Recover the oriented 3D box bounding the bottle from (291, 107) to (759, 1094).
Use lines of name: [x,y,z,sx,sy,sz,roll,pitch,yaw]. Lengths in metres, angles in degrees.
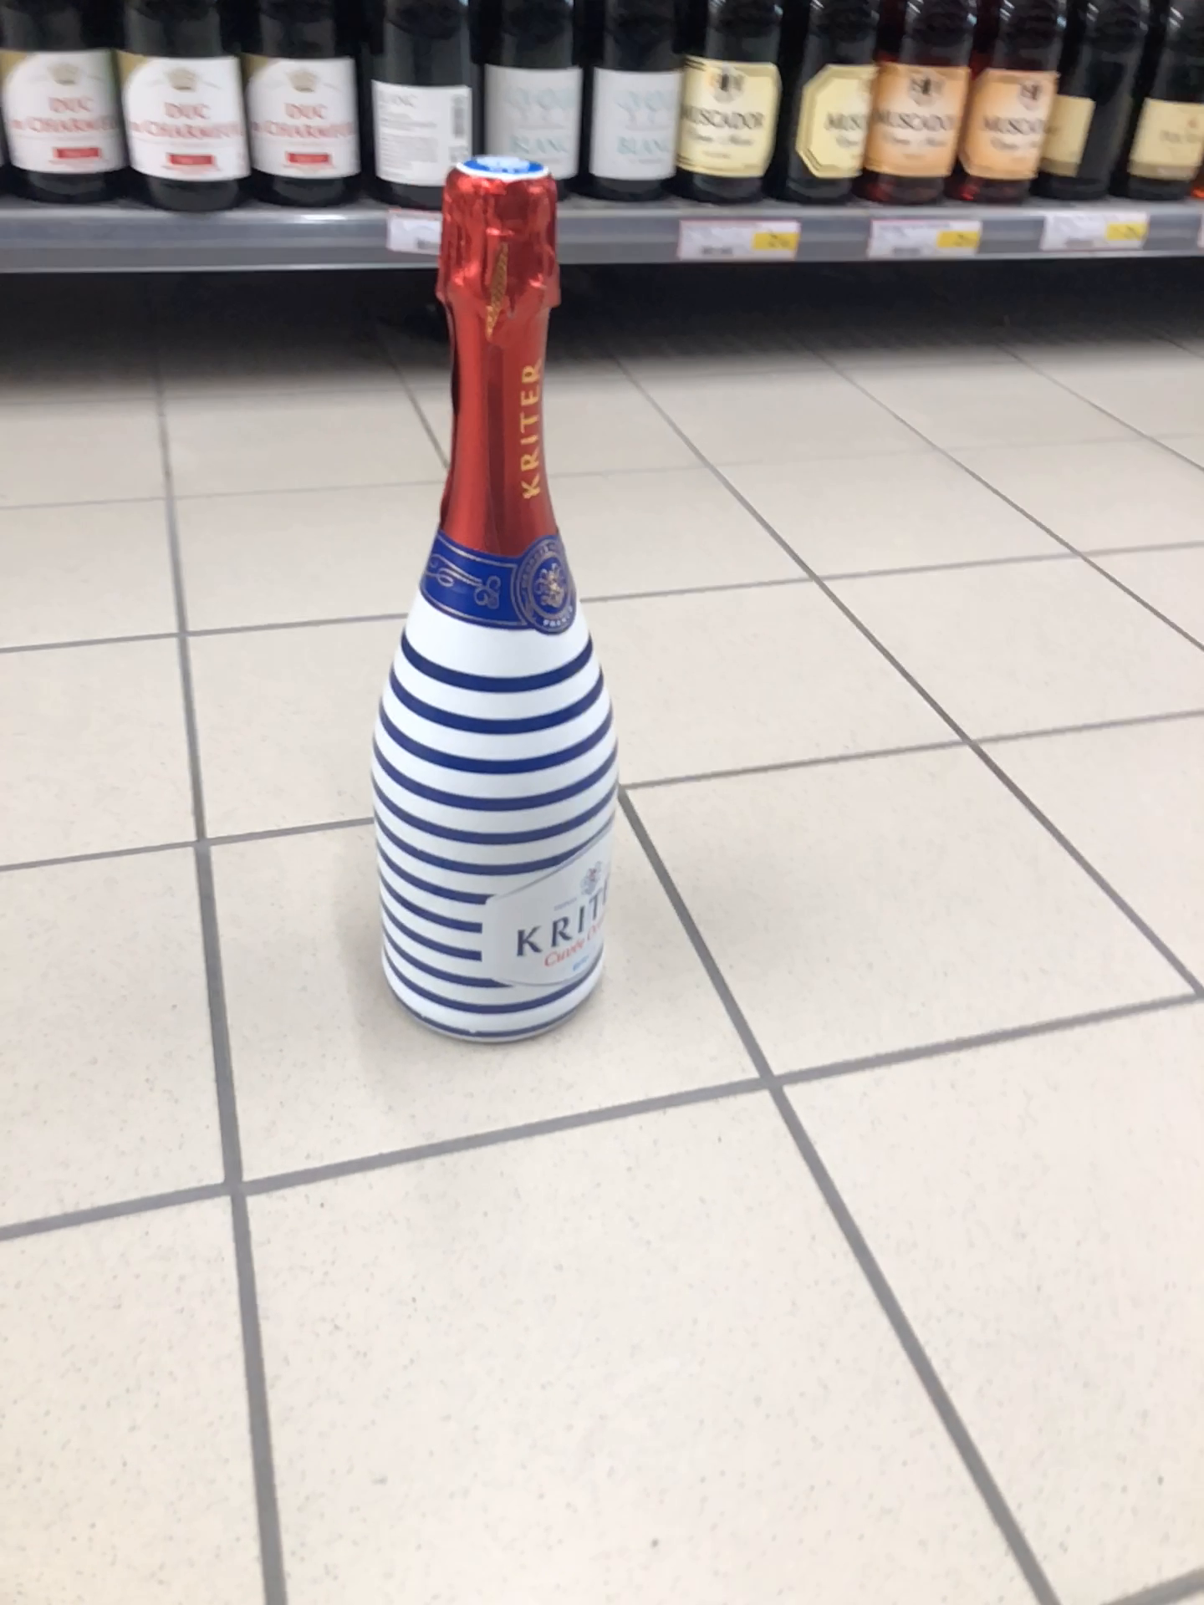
bottle: [-0.028,-0.059,0.455,0.090,0.308,0.101,22,37,24]
